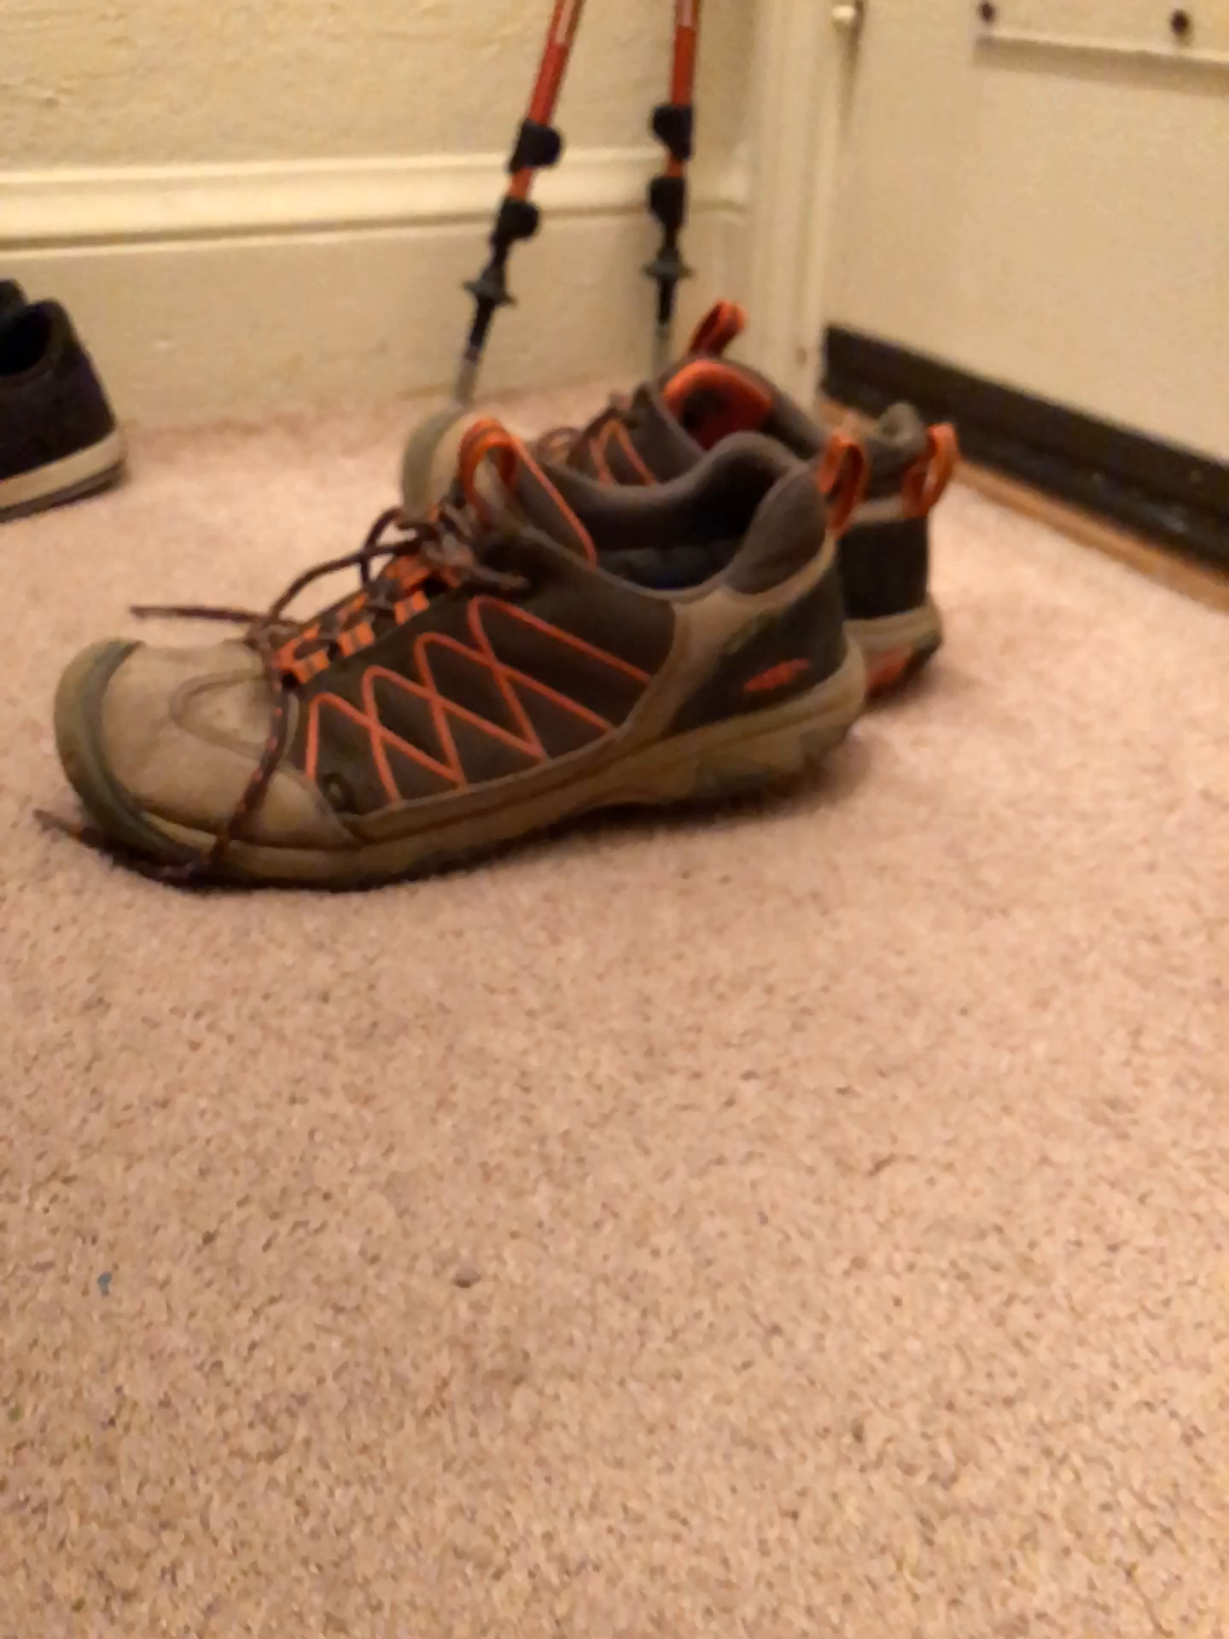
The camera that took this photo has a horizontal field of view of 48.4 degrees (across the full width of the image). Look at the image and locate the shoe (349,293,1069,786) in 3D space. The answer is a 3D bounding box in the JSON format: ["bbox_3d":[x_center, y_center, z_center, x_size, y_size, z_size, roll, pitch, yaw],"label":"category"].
[{"bbox_3d":[0.031,-0.145,0.635,0.300,0.129,0.121,23,38,30],"label":"shoe"}]

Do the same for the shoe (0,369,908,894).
[{"bbox_3d":[-0.057,-0.072,0.472,0.270,0.129,0.121,-4,33,-8],"label":"shoe"}]
